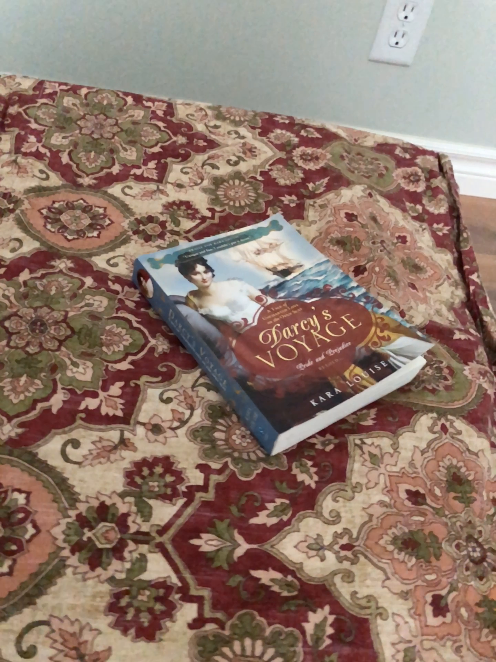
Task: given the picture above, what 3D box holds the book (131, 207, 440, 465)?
[{"bbox_3d":[0.023,-0.014,0.436,0.155,0.034,0.200,-21,55,-30],"label":"book"}]
